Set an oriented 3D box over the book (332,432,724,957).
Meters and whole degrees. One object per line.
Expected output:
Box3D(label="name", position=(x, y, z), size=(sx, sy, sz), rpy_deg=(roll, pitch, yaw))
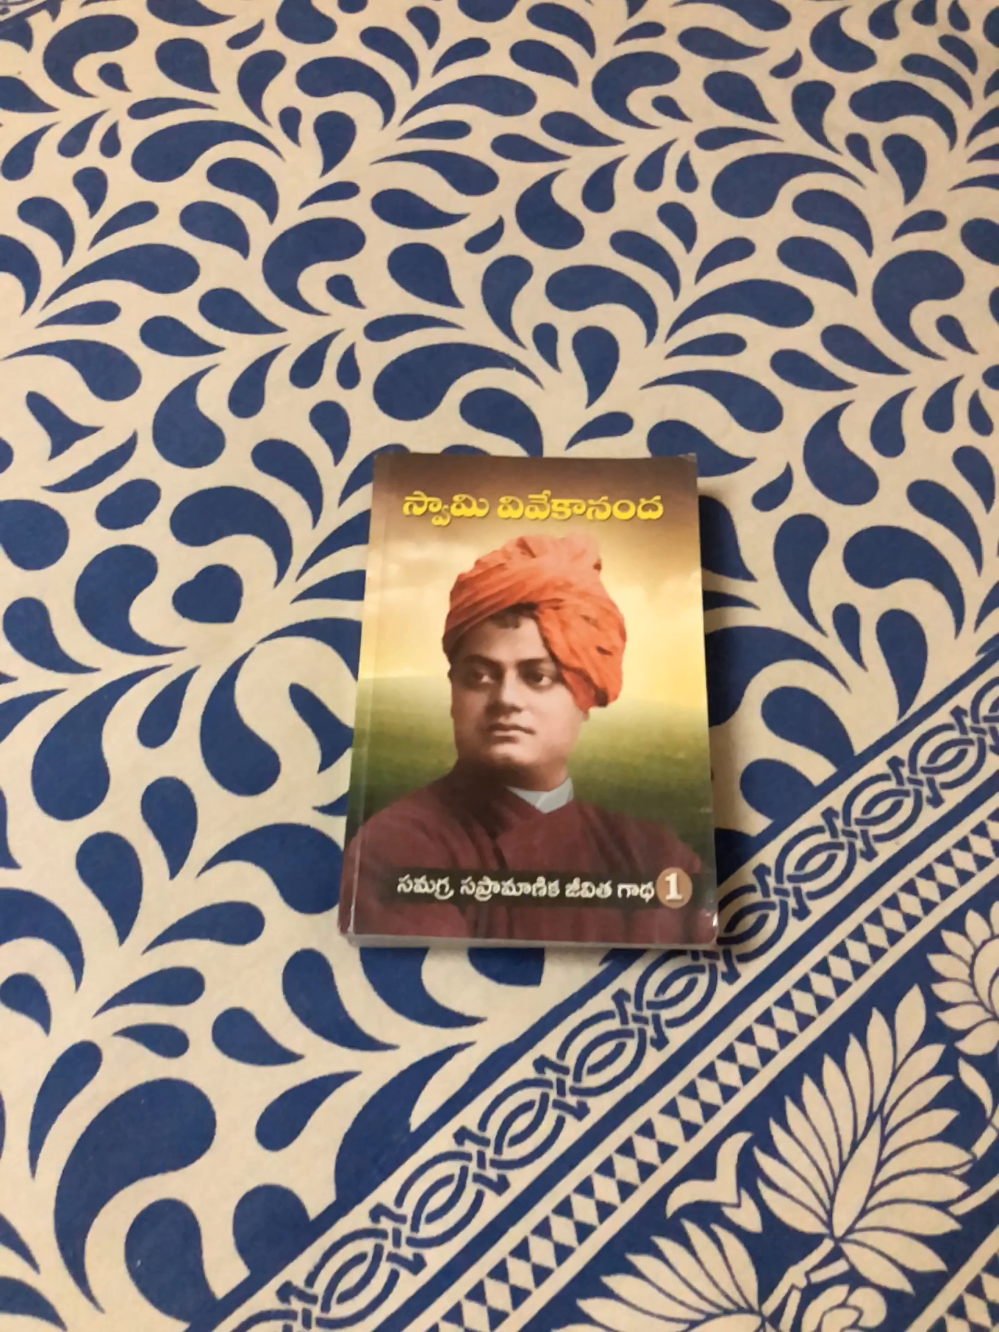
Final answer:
Box3D(label="book", position=(0.012, 0.006, 0.447), size=(0.140, 0.030, 0.210), rpy_deg=(2, 69, -2))
